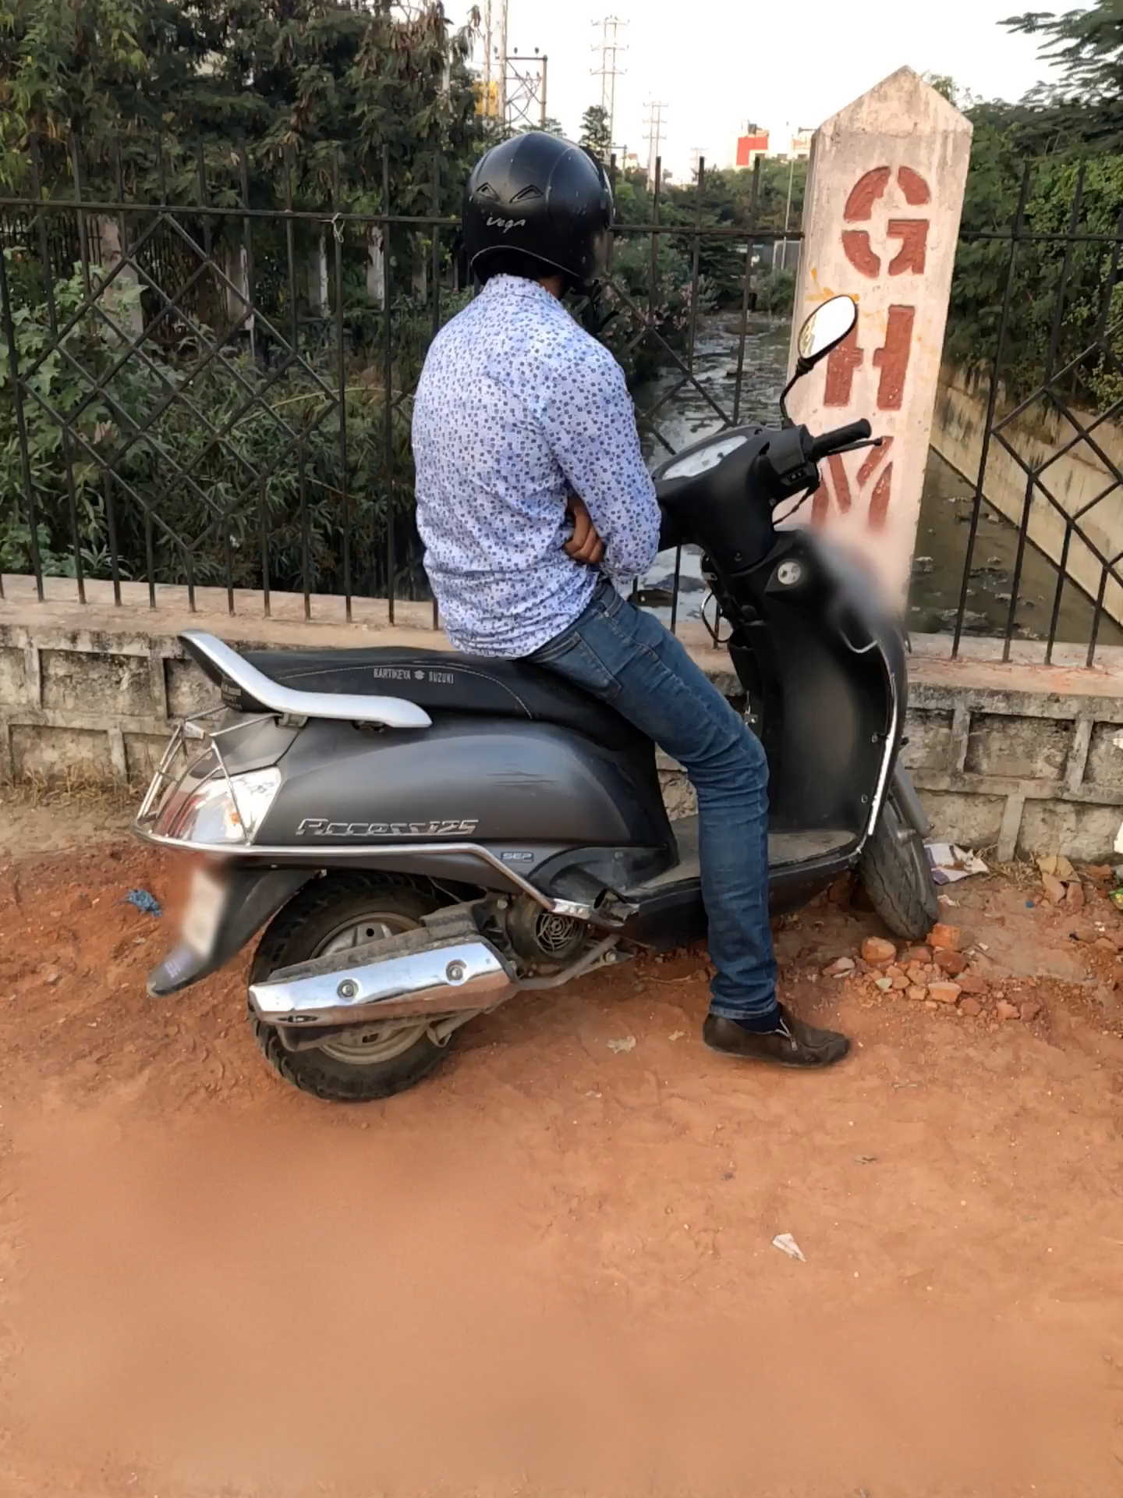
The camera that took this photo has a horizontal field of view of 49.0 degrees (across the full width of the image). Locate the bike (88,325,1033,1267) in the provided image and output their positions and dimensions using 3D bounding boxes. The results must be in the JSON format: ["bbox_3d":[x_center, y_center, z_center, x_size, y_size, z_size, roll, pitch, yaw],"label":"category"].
[{"bbox_3d":[0.048,-0.105,2.461,1.582,1.216,0.799,-19,30,-37],"label":"bike"}]
